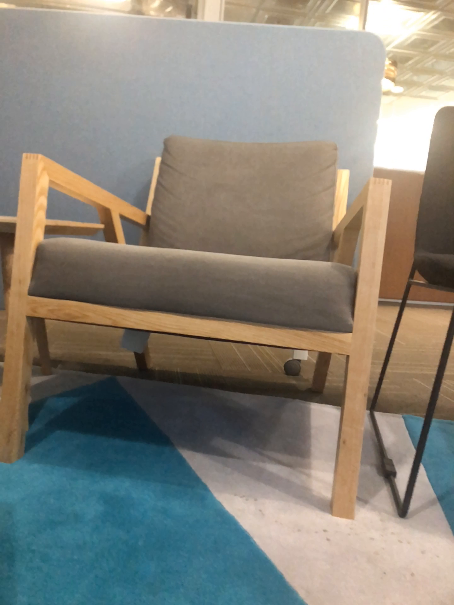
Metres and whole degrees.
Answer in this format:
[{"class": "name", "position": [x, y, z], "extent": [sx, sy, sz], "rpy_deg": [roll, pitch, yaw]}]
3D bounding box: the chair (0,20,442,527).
[{"class": "chair", "position": [-0.010, -0.103, 1.211], "extent": [0.710, 0.748, 0.843], "rpy_deg": [6, 8, 8]}]
